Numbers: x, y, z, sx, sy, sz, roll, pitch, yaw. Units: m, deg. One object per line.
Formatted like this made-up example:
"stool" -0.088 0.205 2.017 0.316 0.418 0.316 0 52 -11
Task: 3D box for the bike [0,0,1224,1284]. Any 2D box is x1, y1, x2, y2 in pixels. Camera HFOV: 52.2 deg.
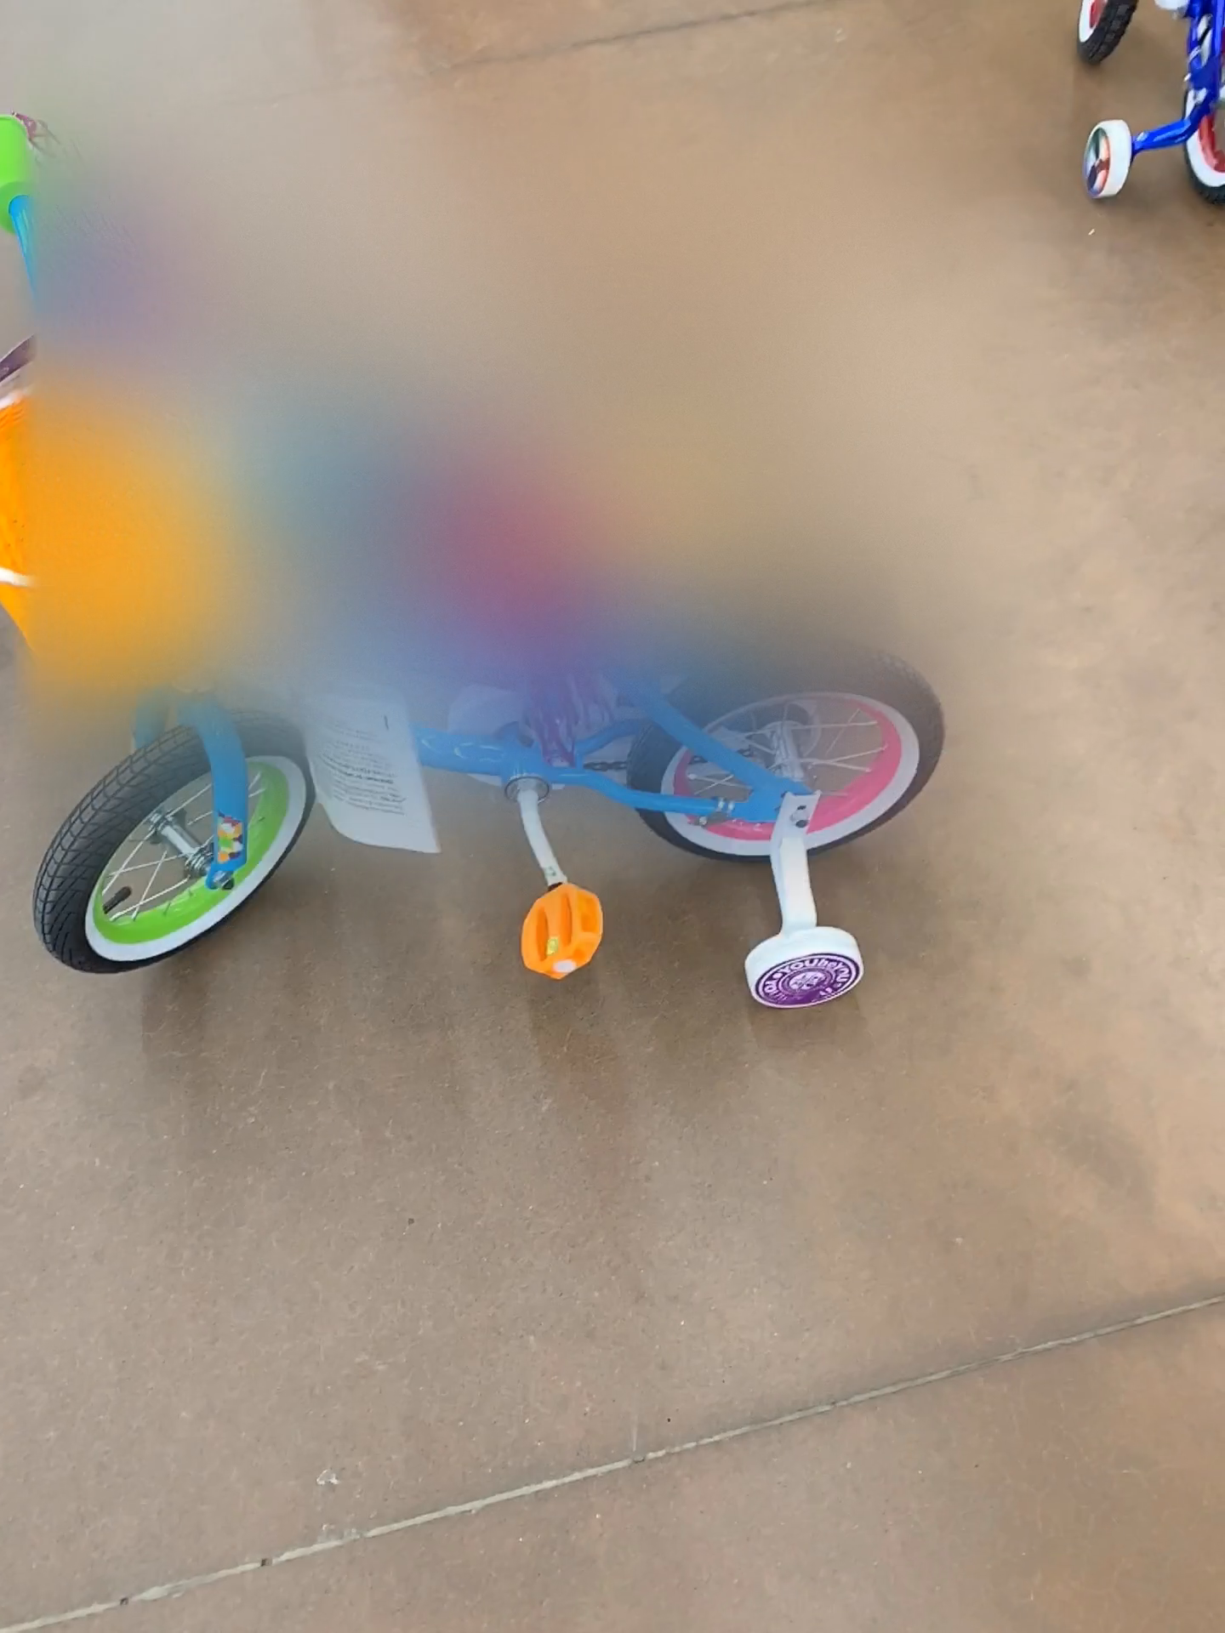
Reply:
"bike" -0.111 -0.095 1.010 0.833 0.667 0.523 -11 53 -2
